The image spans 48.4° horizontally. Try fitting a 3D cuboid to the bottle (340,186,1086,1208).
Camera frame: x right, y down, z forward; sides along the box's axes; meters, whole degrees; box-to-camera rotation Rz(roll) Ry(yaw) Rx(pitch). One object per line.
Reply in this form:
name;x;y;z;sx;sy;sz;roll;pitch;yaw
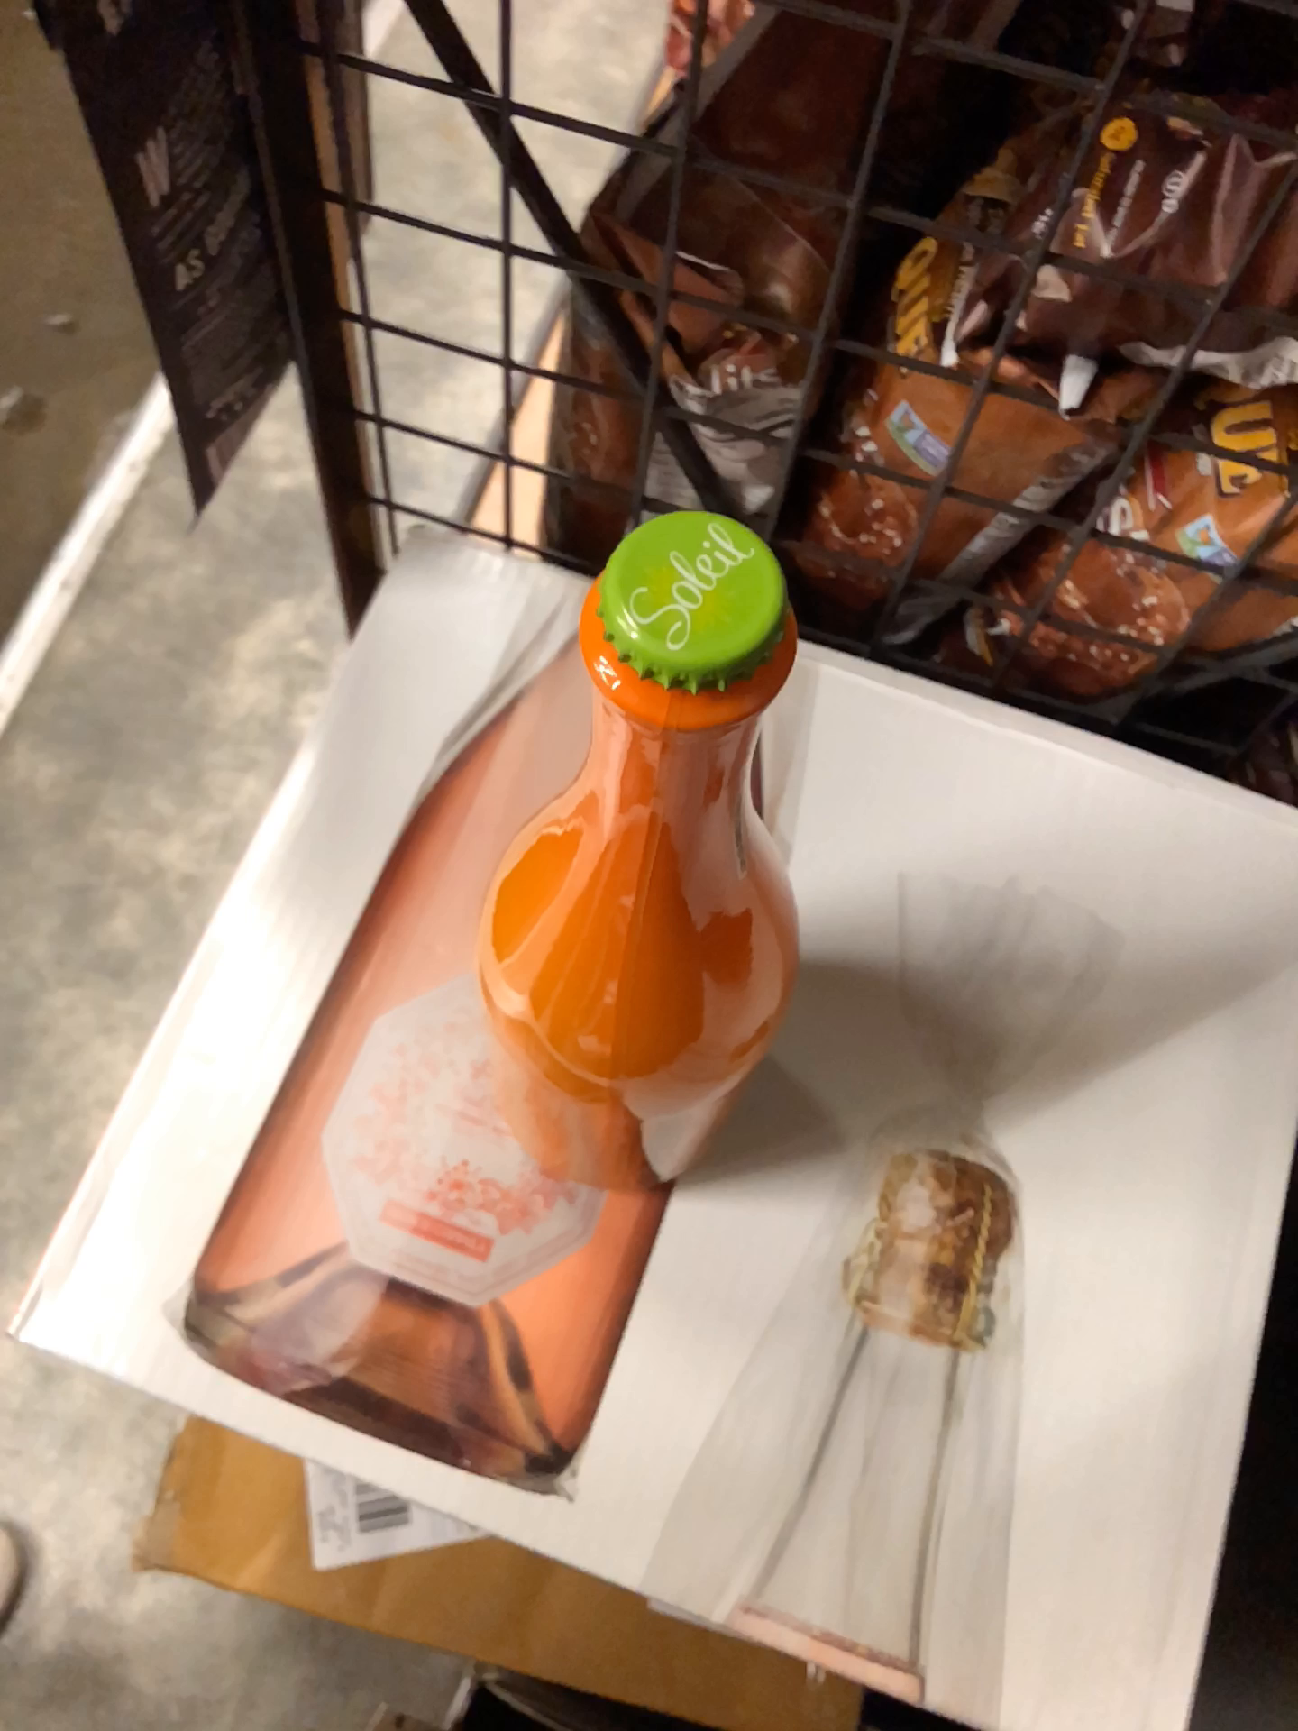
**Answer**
bottle;0.002;-0.001;0.340;0.090;0.280;0.090;2;66;-5
